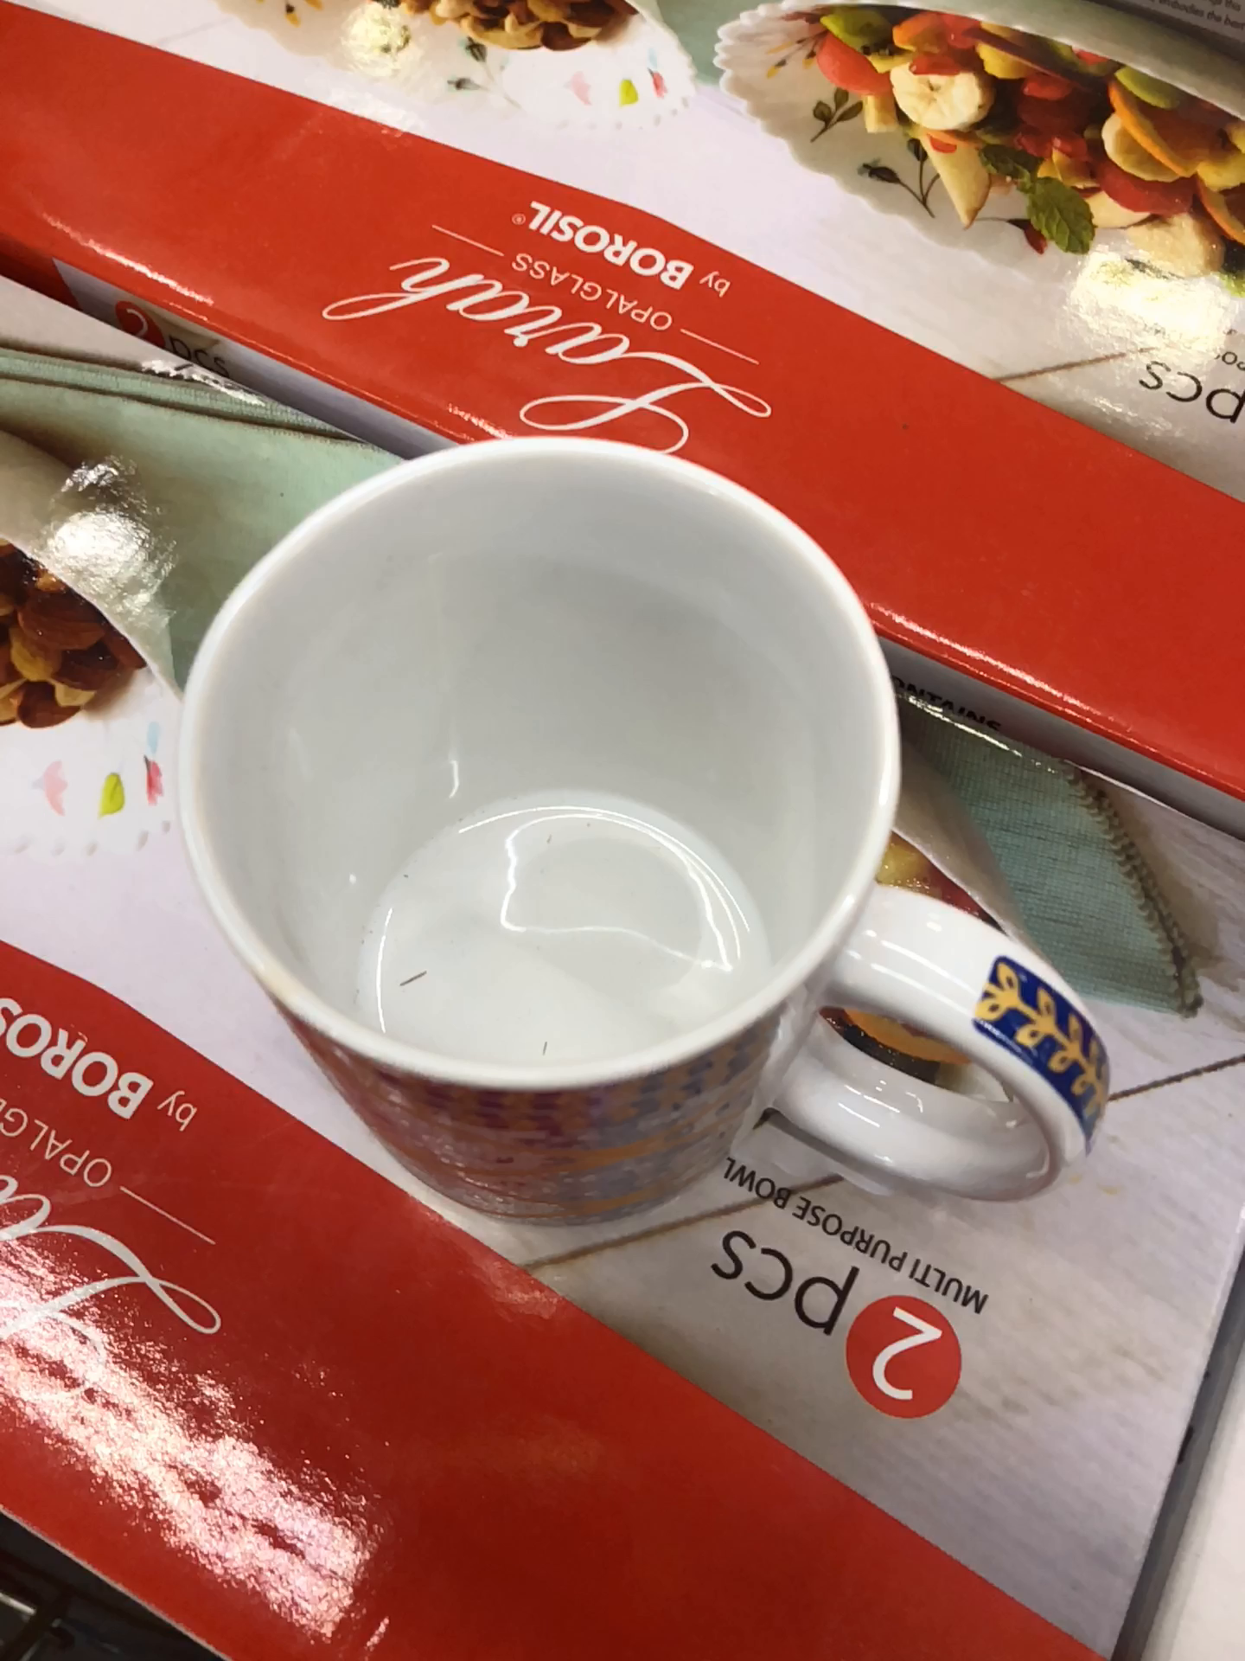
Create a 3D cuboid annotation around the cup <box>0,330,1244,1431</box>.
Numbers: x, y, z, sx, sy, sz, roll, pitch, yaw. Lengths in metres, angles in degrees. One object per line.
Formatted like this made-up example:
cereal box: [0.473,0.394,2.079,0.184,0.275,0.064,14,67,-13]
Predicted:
cup: [0.001,0.015,0.182,0.110,0.100,0.080,19,65,8]
